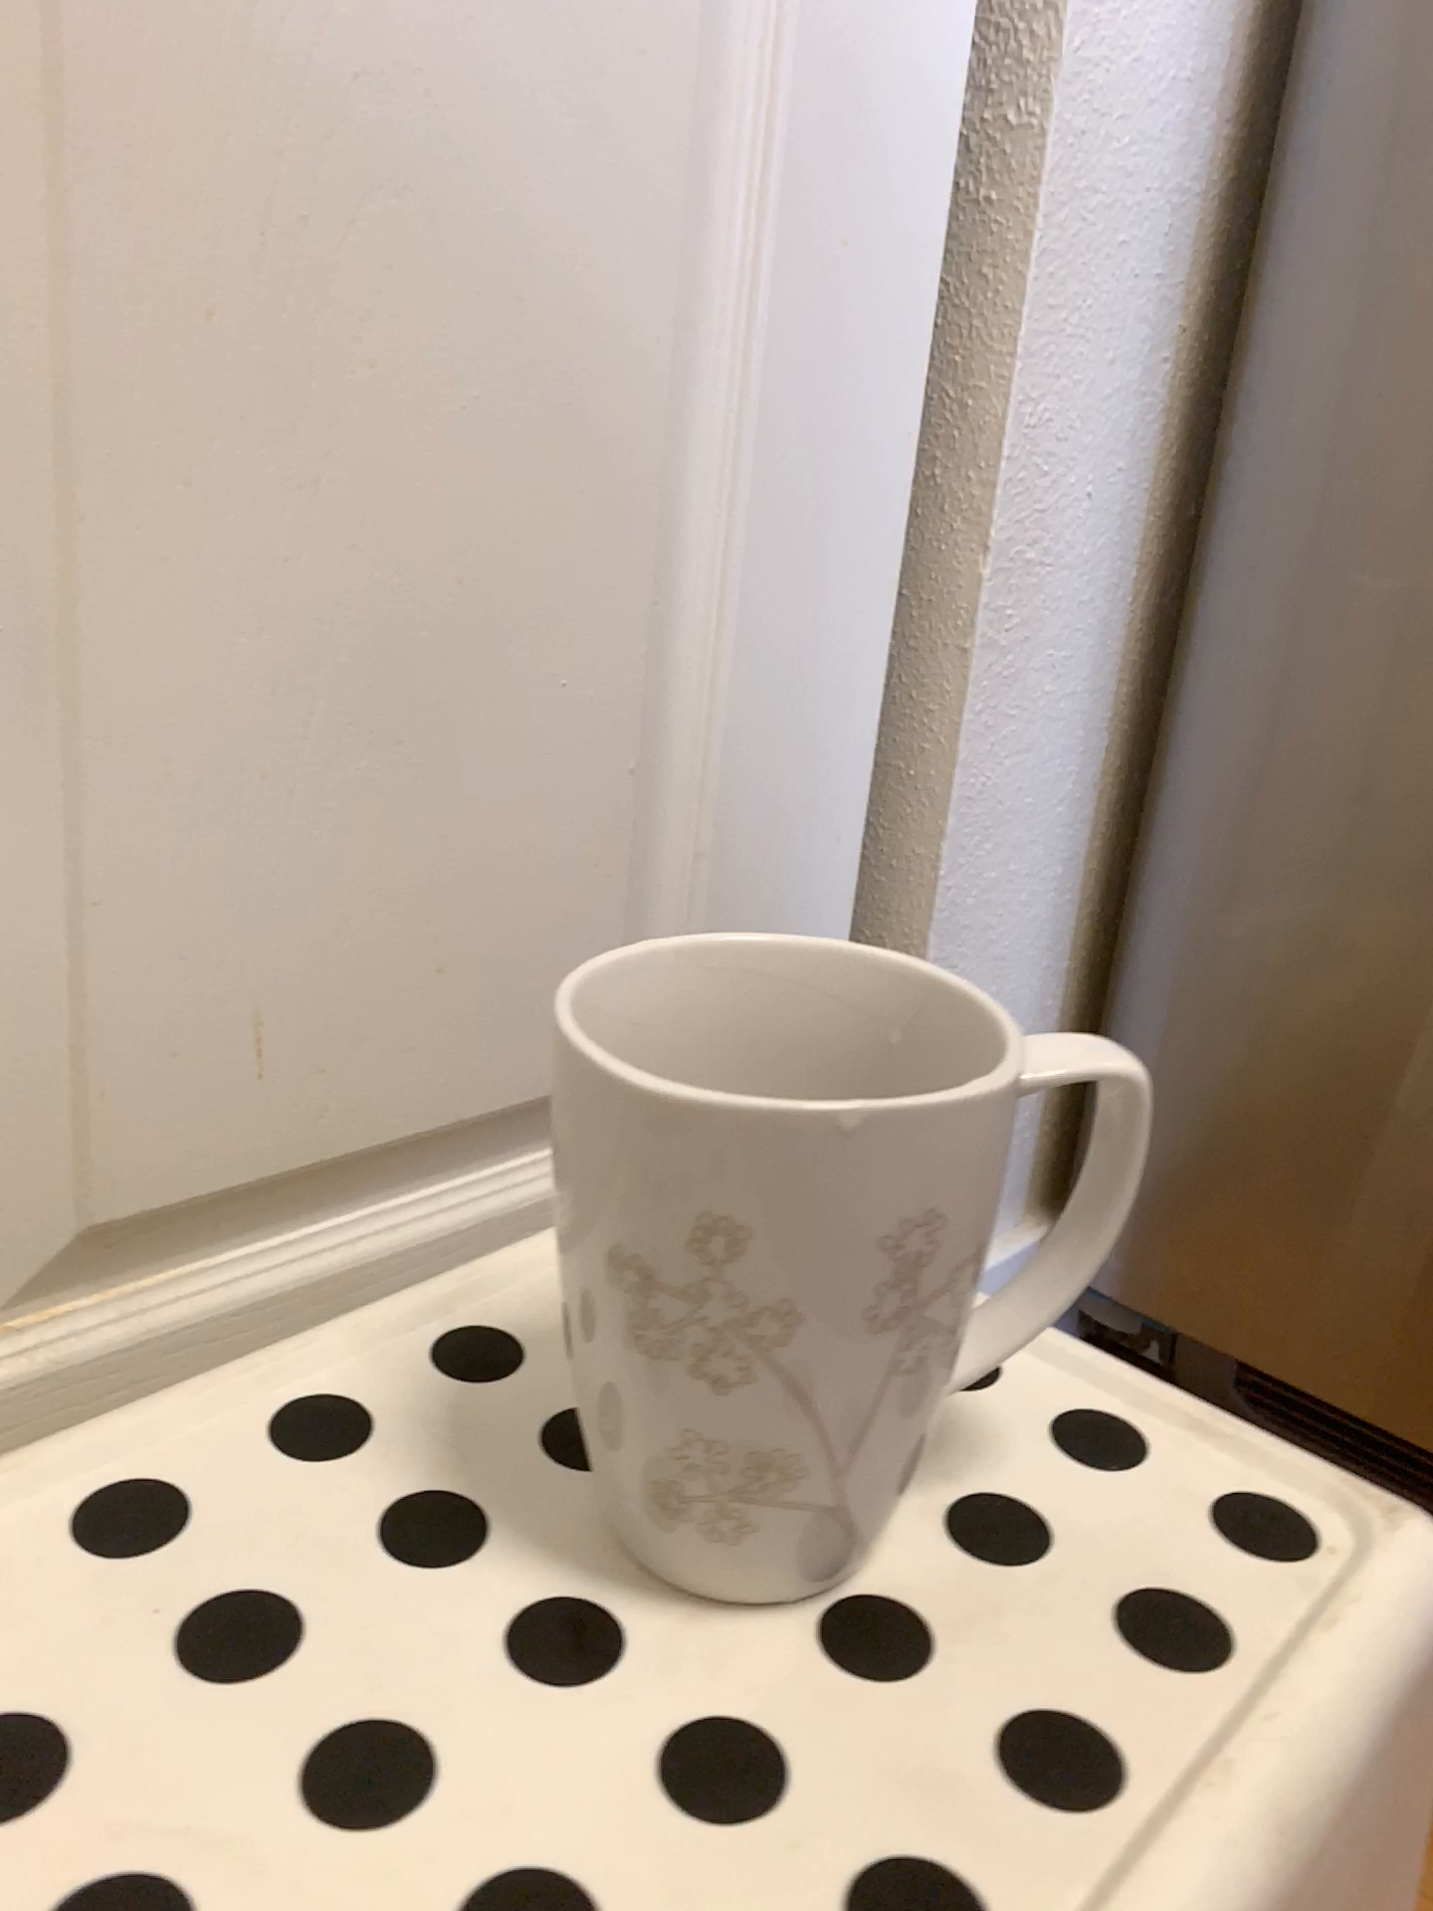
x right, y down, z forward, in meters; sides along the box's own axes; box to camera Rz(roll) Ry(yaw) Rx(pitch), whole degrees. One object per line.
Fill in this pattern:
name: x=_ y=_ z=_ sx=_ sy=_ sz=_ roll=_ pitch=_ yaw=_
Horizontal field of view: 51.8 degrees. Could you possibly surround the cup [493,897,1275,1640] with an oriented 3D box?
cup: x=0.026 y=0.052 z=0.288 sx=0.120 sy=0.110 sz=0.070 roll=-1 pitch=19 yaw=-21
